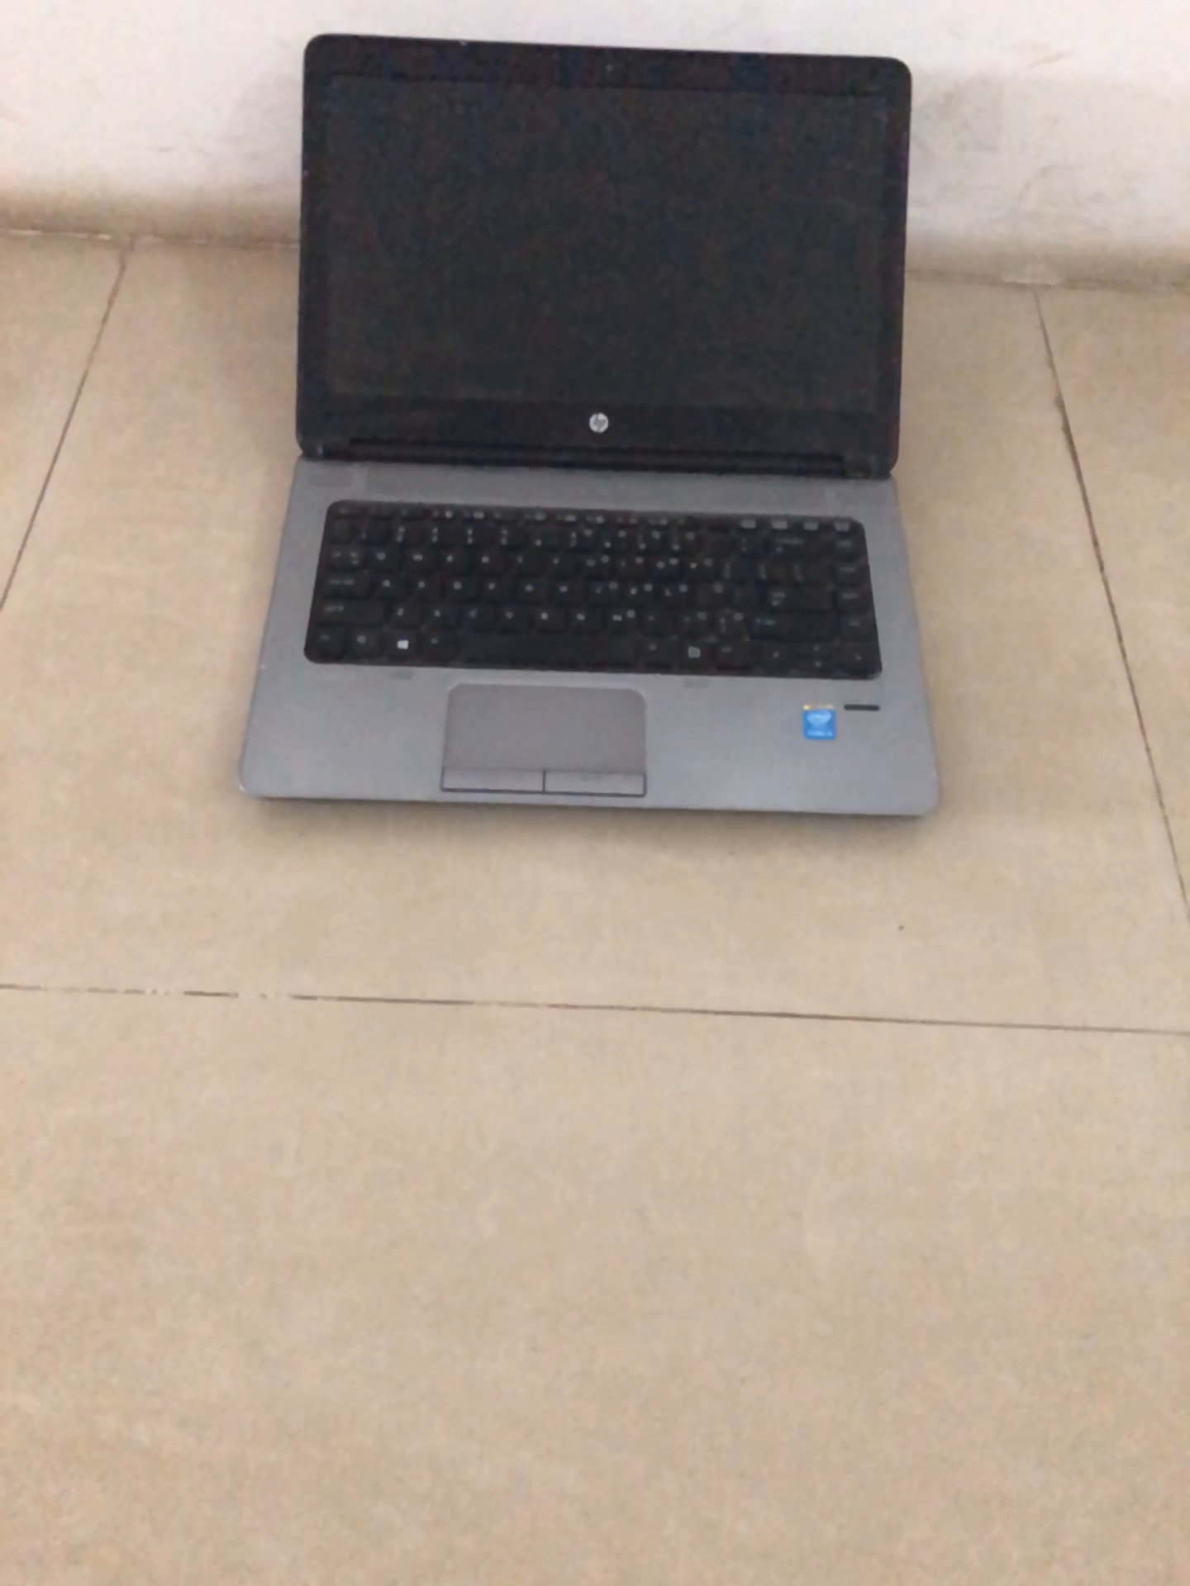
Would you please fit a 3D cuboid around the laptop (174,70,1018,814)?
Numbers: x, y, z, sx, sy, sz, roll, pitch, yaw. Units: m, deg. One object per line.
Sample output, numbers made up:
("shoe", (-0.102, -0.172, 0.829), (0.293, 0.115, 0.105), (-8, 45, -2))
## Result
("laptop", (0.002, -0.193, 0.668), (0.318, 0.146, 0.387), (2, 54, -1))
